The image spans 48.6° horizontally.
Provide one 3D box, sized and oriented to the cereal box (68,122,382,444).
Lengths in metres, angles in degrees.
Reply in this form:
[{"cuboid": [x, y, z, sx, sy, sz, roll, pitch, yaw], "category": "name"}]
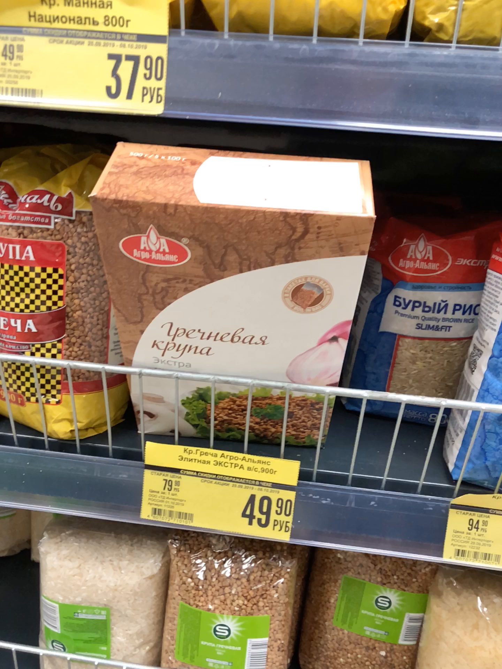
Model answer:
[{"cuboid": [-0.013, -0.016, 0.335, 0.140, 0.198, 0.050, 5, 46, 2], "category": "cereal box"}]
